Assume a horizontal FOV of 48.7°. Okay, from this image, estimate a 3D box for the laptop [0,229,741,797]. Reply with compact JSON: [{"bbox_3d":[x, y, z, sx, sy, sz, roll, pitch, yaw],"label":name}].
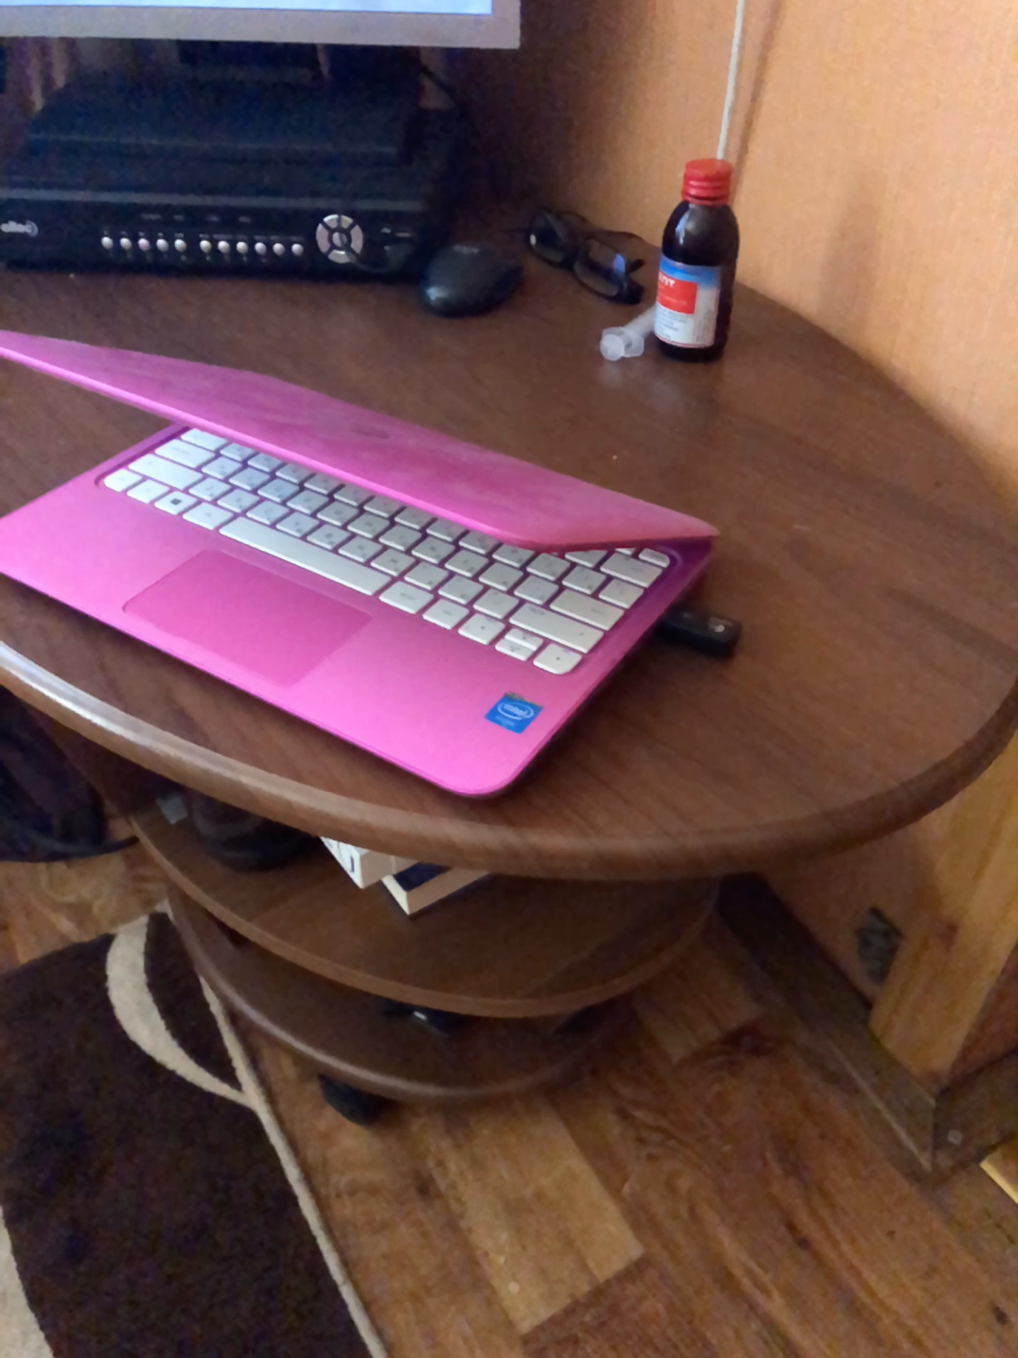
[{"bbox_3d":[-0.070,-0.090,0.460,0.264,0.081,0.187,23,45,24],"label":"laptop"}]
